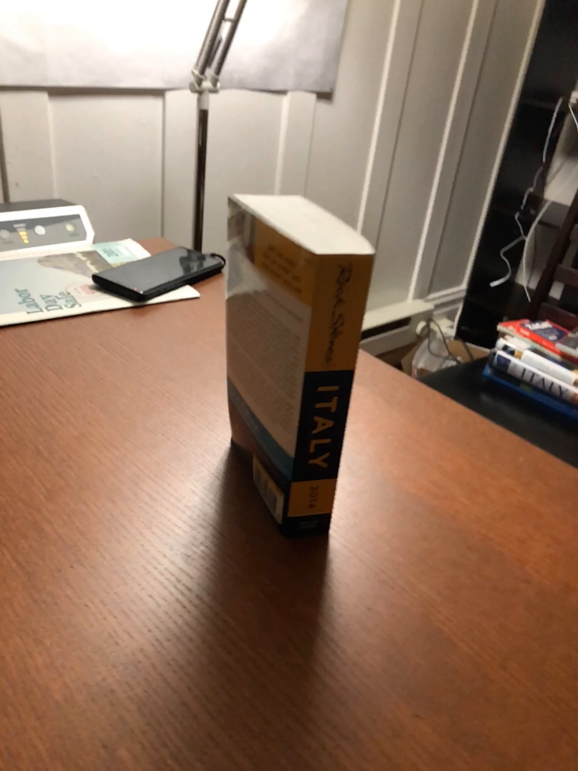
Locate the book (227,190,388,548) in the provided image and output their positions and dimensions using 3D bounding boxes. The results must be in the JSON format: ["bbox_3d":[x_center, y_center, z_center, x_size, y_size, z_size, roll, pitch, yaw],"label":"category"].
[{"bbox_3d":[0.001,-0.013,0.431,0.050,0.199,0.131,-9,34,-19],"label":"book"}]
